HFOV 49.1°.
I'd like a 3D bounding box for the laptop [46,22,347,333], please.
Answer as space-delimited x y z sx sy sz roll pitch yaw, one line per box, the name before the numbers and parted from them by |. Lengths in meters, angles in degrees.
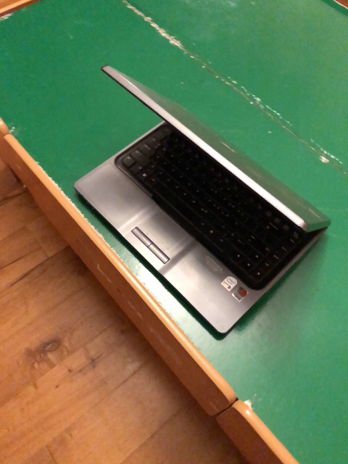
laptop | 0.040 -0.078 0.513 0.227 0.171 0.316 -40 70 -20
